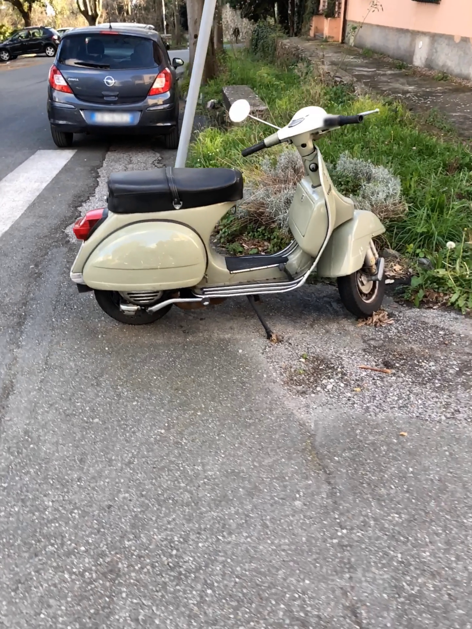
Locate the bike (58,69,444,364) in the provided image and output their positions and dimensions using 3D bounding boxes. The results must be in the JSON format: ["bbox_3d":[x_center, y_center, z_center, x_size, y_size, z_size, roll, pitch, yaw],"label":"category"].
[{"bbox_3d":[0.034,-0.479,2.427,1.441,1.028,0.624,-7,33,-6],"label":"bike"}]
